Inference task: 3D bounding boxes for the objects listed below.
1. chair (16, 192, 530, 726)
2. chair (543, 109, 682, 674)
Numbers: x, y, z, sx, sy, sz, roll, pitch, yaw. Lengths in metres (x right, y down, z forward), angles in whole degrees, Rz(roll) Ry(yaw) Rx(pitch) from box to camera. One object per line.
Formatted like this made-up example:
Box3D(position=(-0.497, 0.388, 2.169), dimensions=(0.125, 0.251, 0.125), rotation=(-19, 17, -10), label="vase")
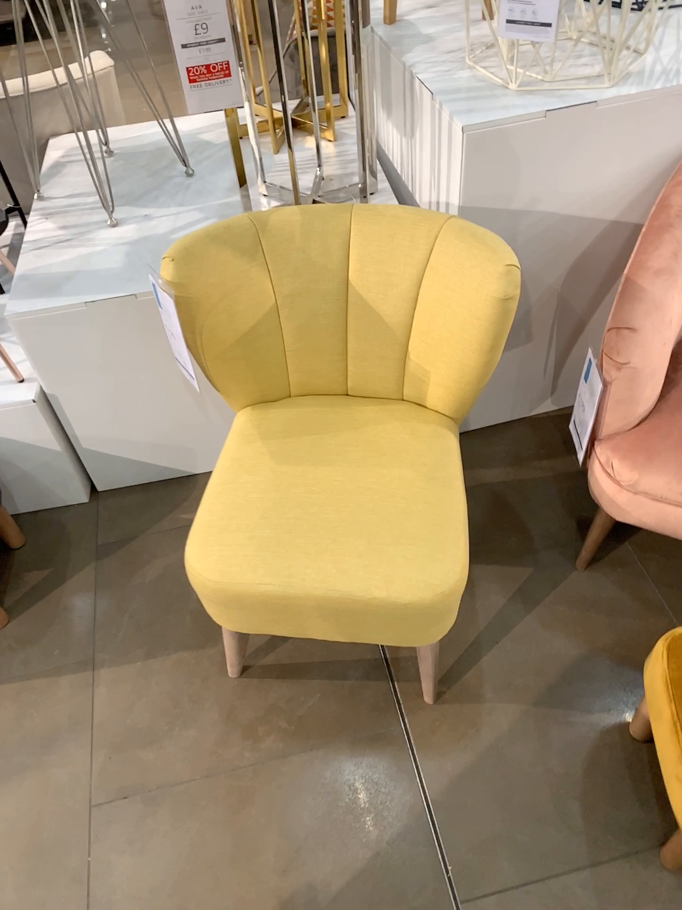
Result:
Box3D(position=(-0.017, 0.007, 1.236), dimensions=(0.607, 0.696, 0.591), rotation=(5, 48, 11), label="chair")
Box3D(position=(0.808, -0.121, 1.316), dimensions=(0.618, 0.765, 0.590), rotation=(14, 50, 19), label="chair")
